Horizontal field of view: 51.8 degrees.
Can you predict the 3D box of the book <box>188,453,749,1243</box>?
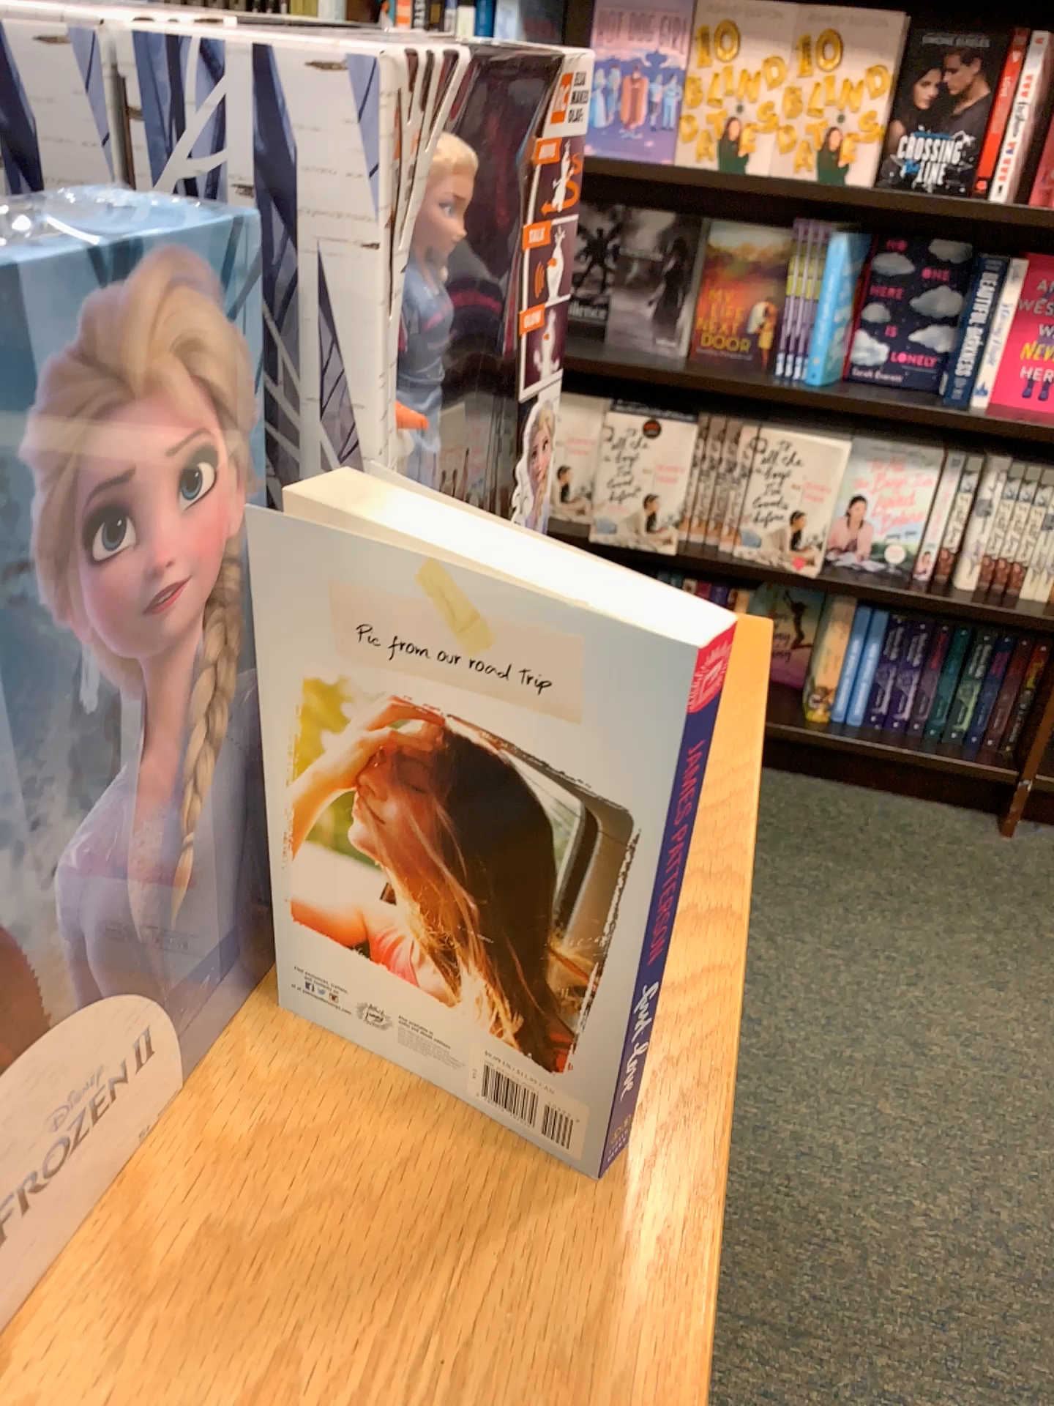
[{"bbox_3d":[-0.025,0.046,0.341,0.142,0.205,0.059,25,39,29],"label":"book"}]
